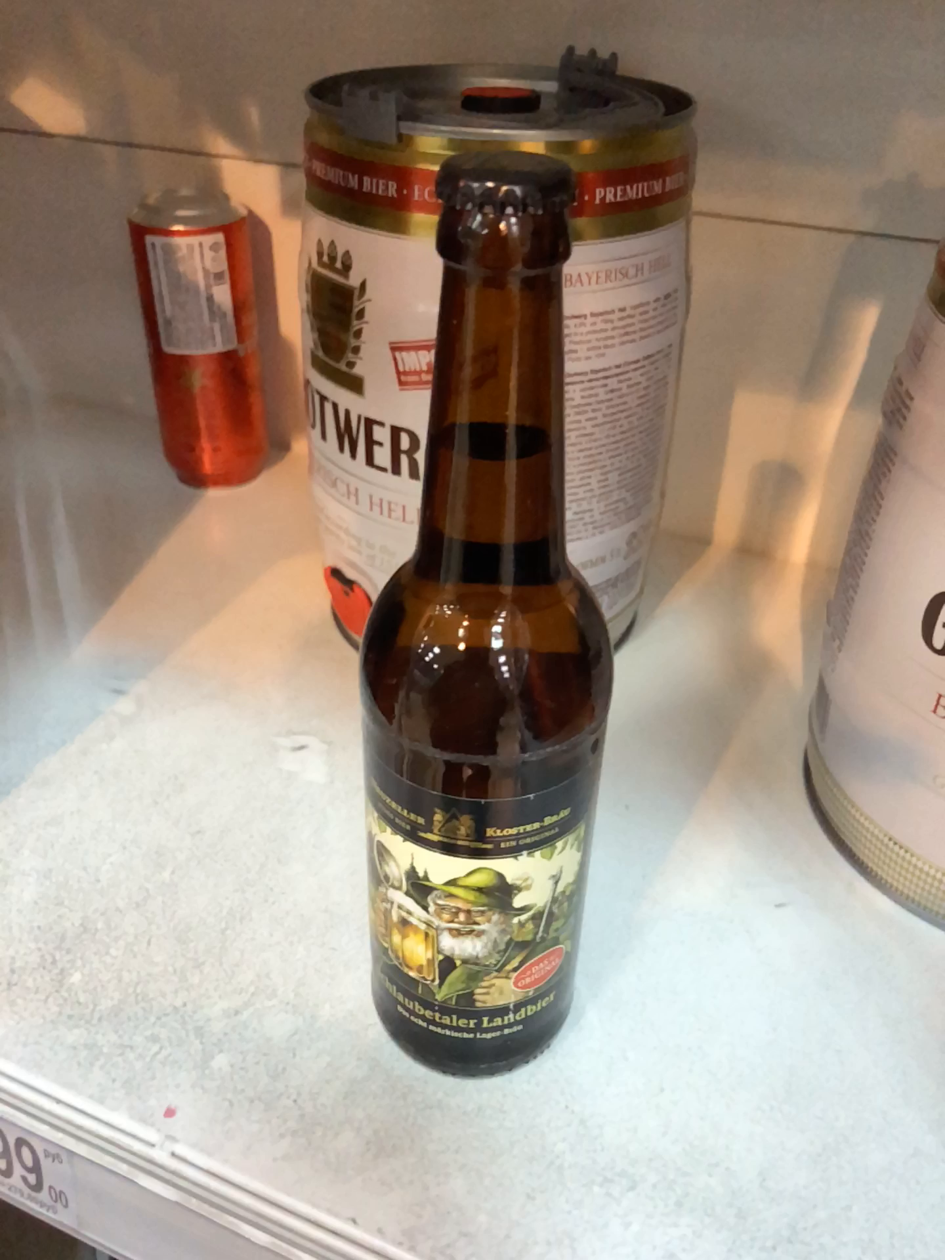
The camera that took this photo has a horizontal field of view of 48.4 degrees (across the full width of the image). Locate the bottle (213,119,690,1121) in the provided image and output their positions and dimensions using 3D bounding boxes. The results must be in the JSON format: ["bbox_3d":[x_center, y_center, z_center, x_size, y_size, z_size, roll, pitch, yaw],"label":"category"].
[{"bbox_3d":[-0.002,0.017,0.273,0.071,0.257,0.064,13,38,17],"label":"bottle"}]
